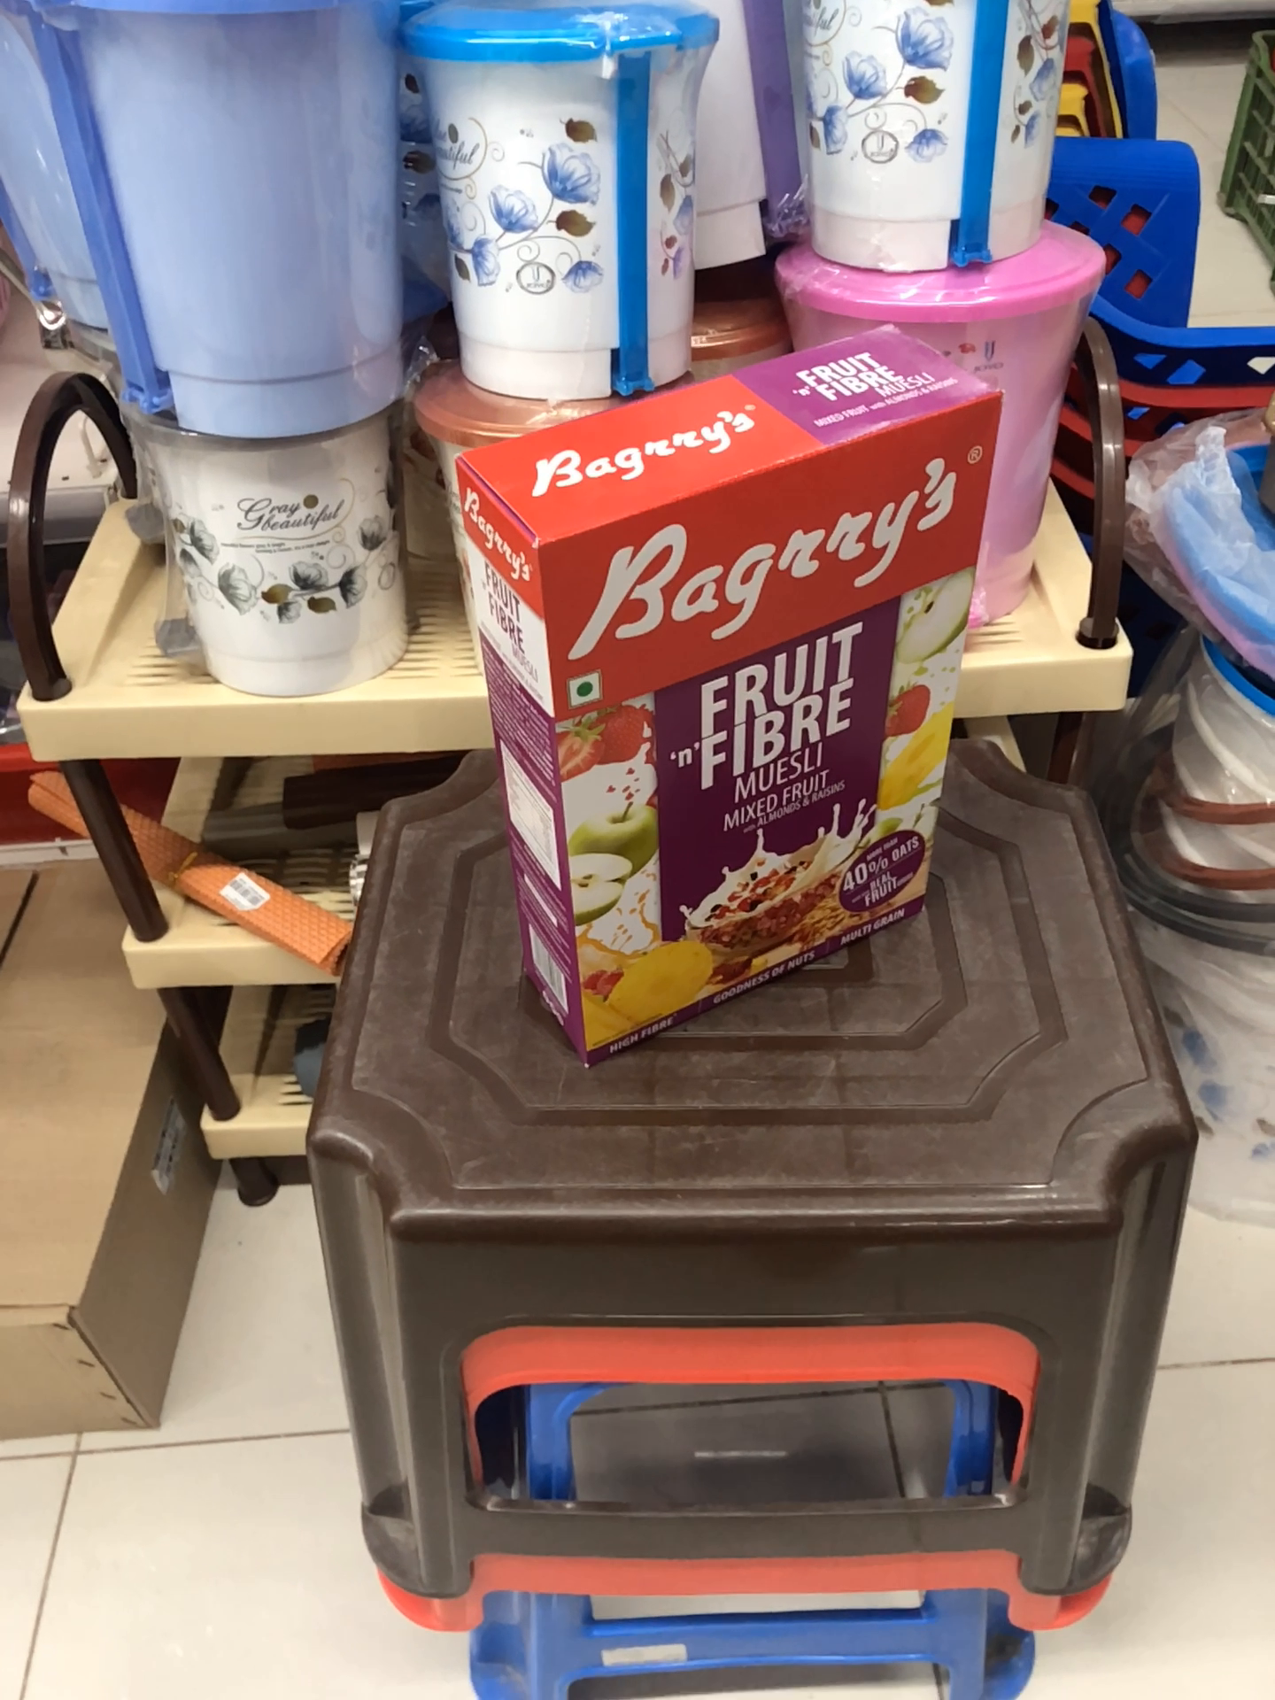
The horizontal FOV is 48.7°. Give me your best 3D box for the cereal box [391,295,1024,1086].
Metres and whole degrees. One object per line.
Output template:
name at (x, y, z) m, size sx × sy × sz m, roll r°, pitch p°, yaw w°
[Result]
cereal box at (0.031, -0.053, 0.551) m, size 0.200 × 0.259 × 0.070 m, roll -22°, pitch 47°, yaw -19°
